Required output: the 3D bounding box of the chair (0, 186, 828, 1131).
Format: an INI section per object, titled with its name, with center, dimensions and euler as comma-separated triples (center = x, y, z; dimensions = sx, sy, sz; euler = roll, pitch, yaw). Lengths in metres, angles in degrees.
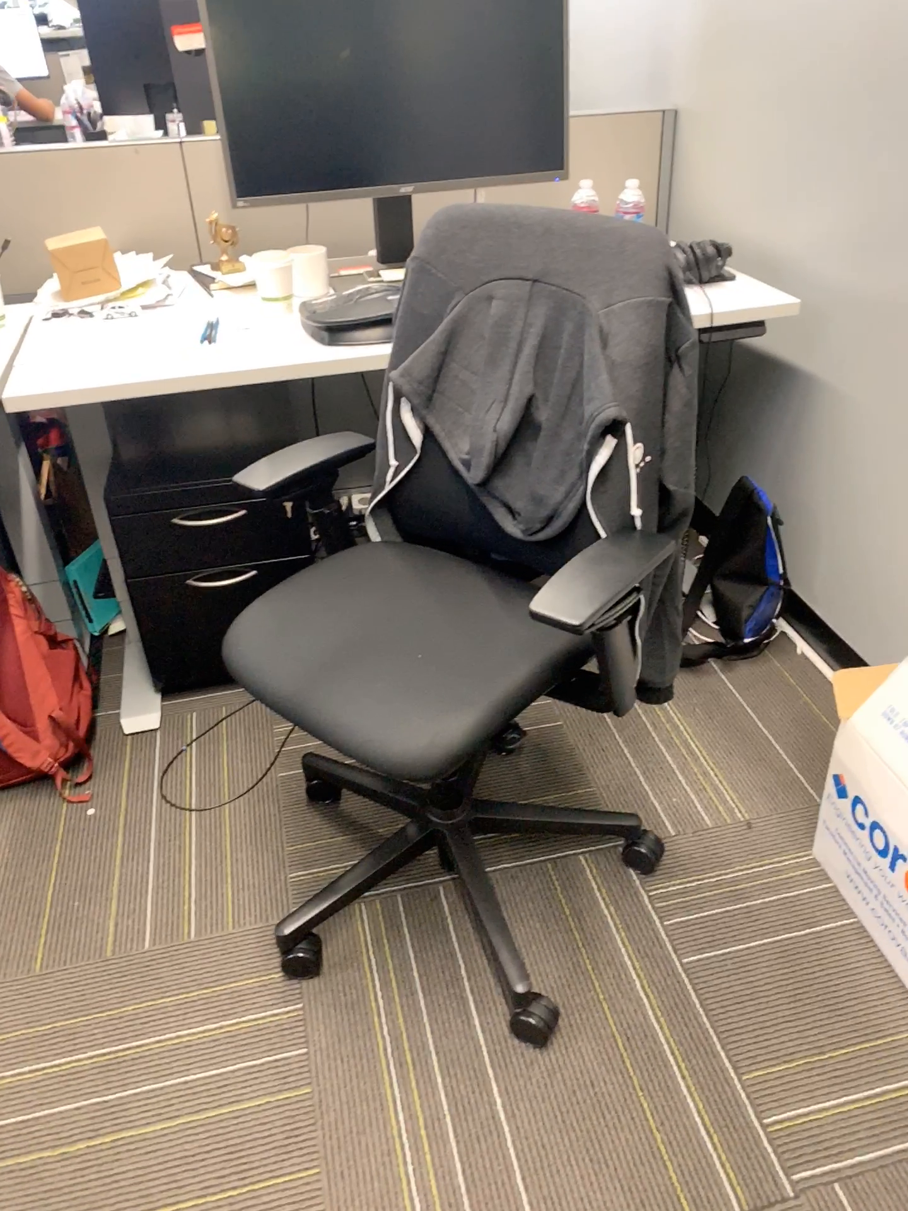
[chair]
center = 0.000, -0.005, 1.401
dimensions = 0.682, 0.994, 0.802
euler = 20, 40, 30
